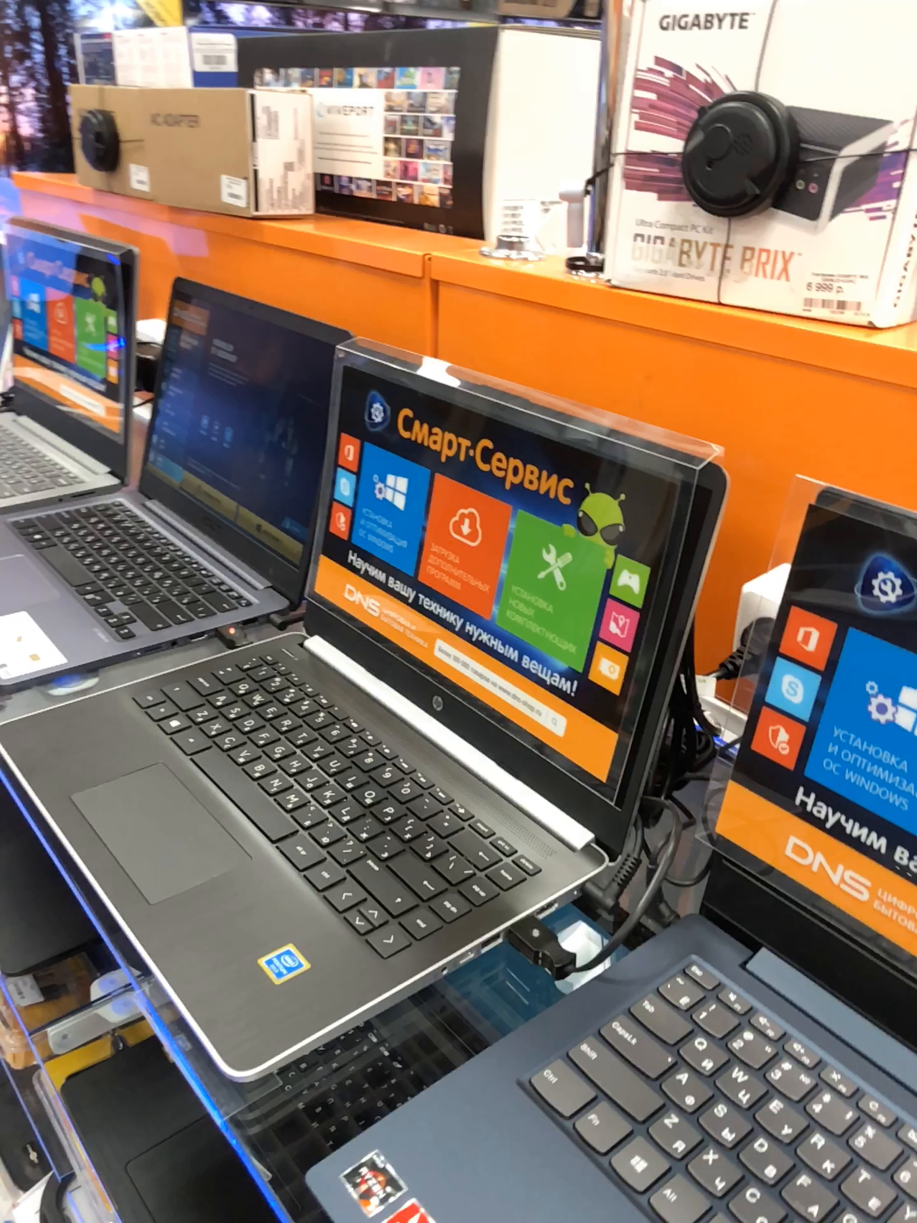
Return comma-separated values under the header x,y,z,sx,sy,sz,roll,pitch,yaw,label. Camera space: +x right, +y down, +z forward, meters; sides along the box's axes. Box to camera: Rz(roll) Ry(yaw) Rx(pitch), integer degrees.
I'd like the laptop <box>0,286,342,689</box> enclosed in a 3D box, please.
x,y,z,sx,sy,sz,roll,pitch,yaw,label
-0.291,-0.132,0.821,0.279,0.198,0.314,-17,32,-36,laptop

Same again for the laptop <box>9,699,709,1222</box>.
x,y,z,sx,sy,sz,roll,pitch,yaw,label
-0.080,0.273,0.639,0.251,0.245,0.363,-17,31,-34,laptop

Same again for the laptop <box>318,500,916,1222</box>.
x,y,z,sx,sy,sz,roll,pitch,yaw,label
0.132,0.126,0.293,0.248,0.205,0.277,-17,30,-33,laptop

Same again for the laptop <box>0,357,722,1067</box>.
x,y,z,sx,sy,sz,roll,pitch,yaw,label
-0.081,0.005,0.550,0.267,0.197,0.314,-19,32,-35,laptop
